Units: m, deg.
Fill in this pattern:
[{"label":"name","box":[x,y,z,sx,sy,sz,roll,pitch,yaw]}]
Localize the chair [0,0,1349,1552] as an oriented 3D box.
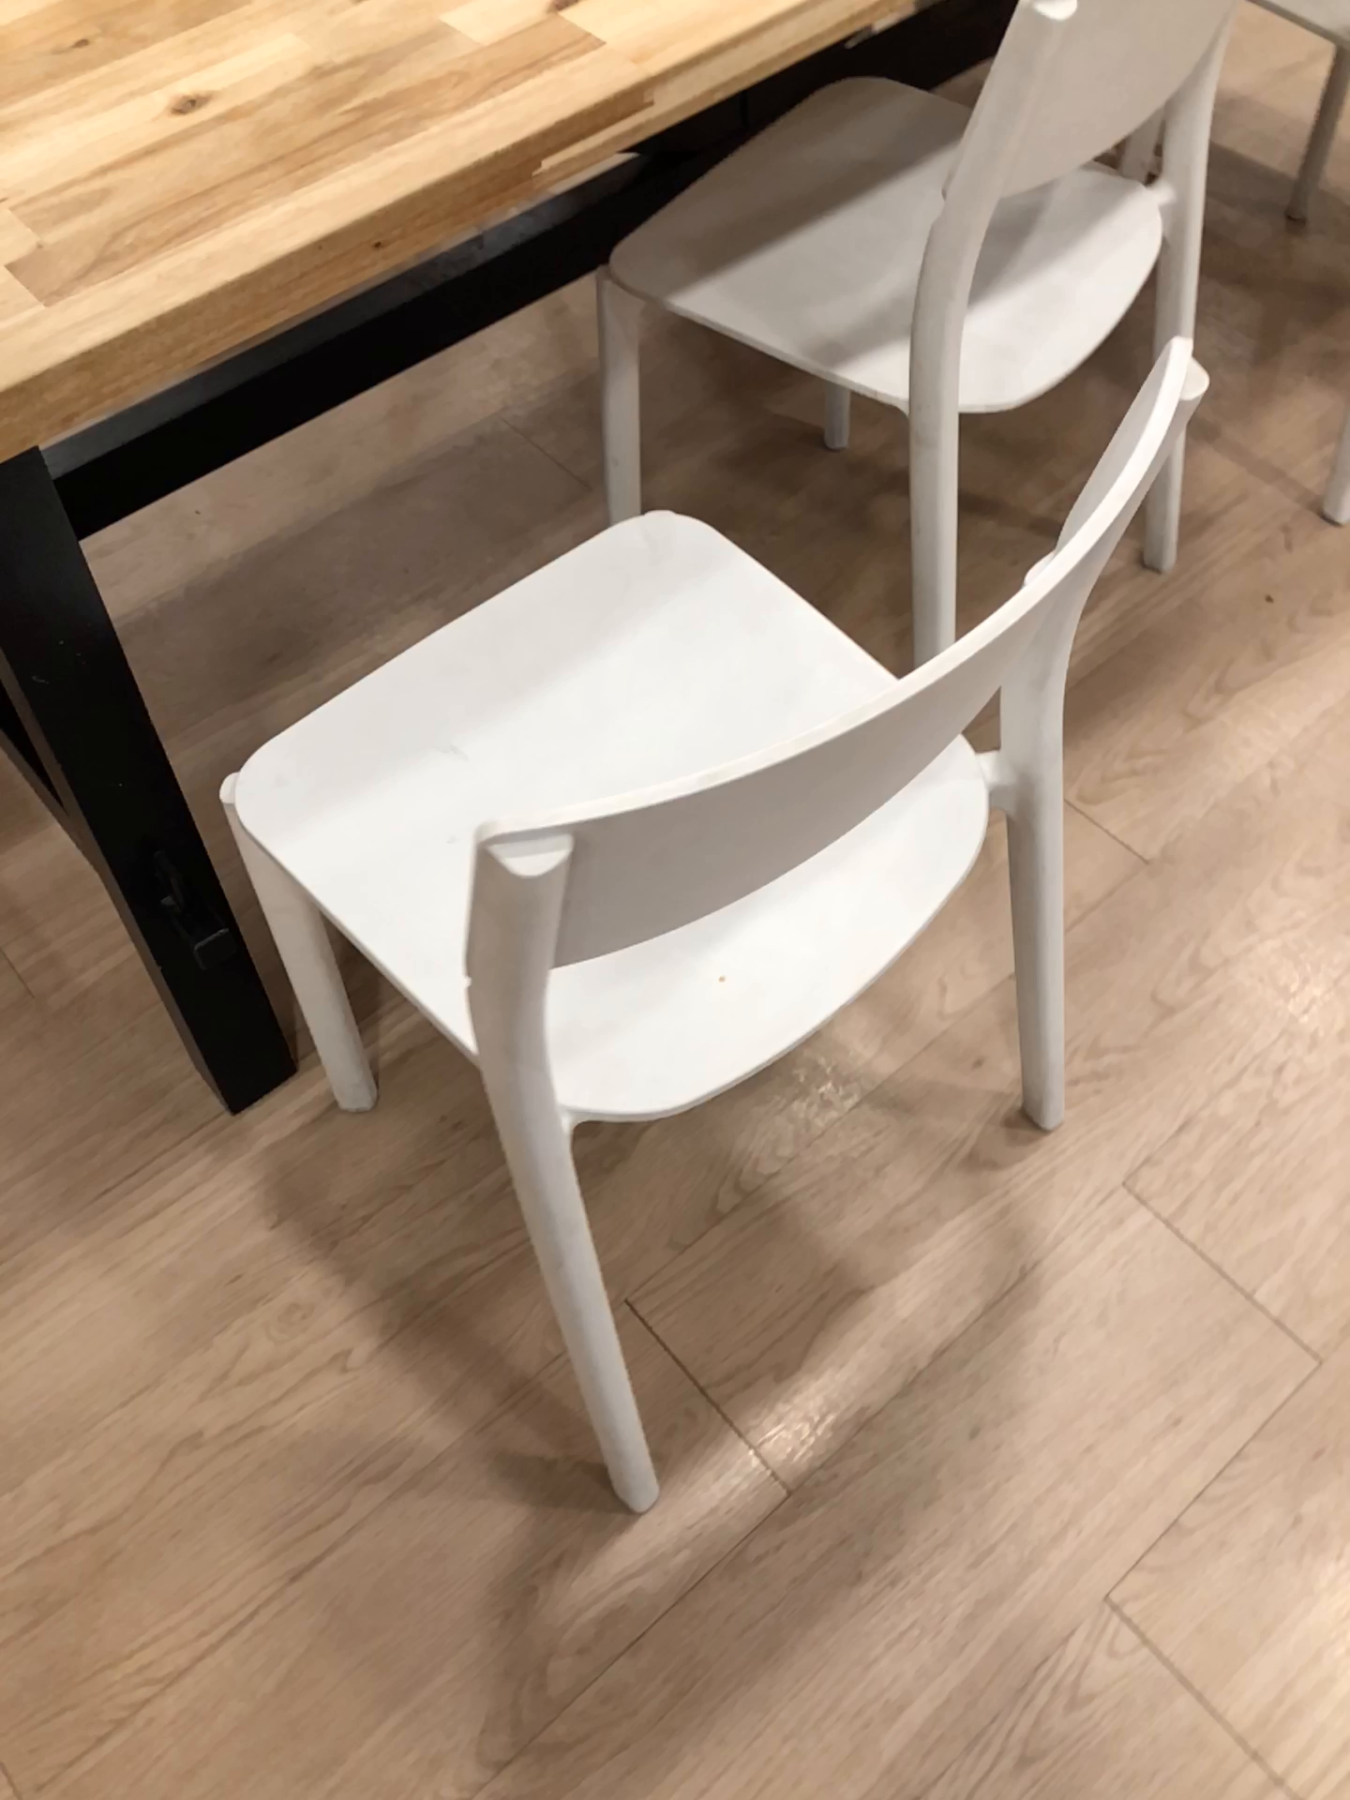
[{"label":"chair","box":[-0.031,-0.056,0.976,0.531,0.717,0.562,-38,61,-20]}]
